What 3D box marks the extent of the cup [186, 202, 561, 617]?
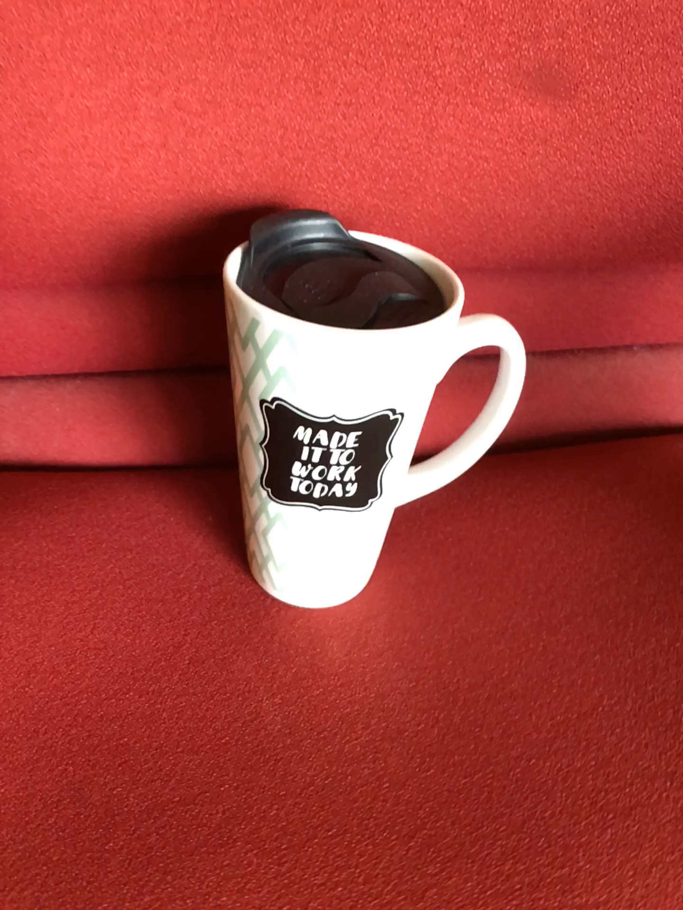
[{"bbox_3d":[0.007,-0.014,0.325,0.120,0.160,0.080,0,41,-3],"label":"cup"}]
